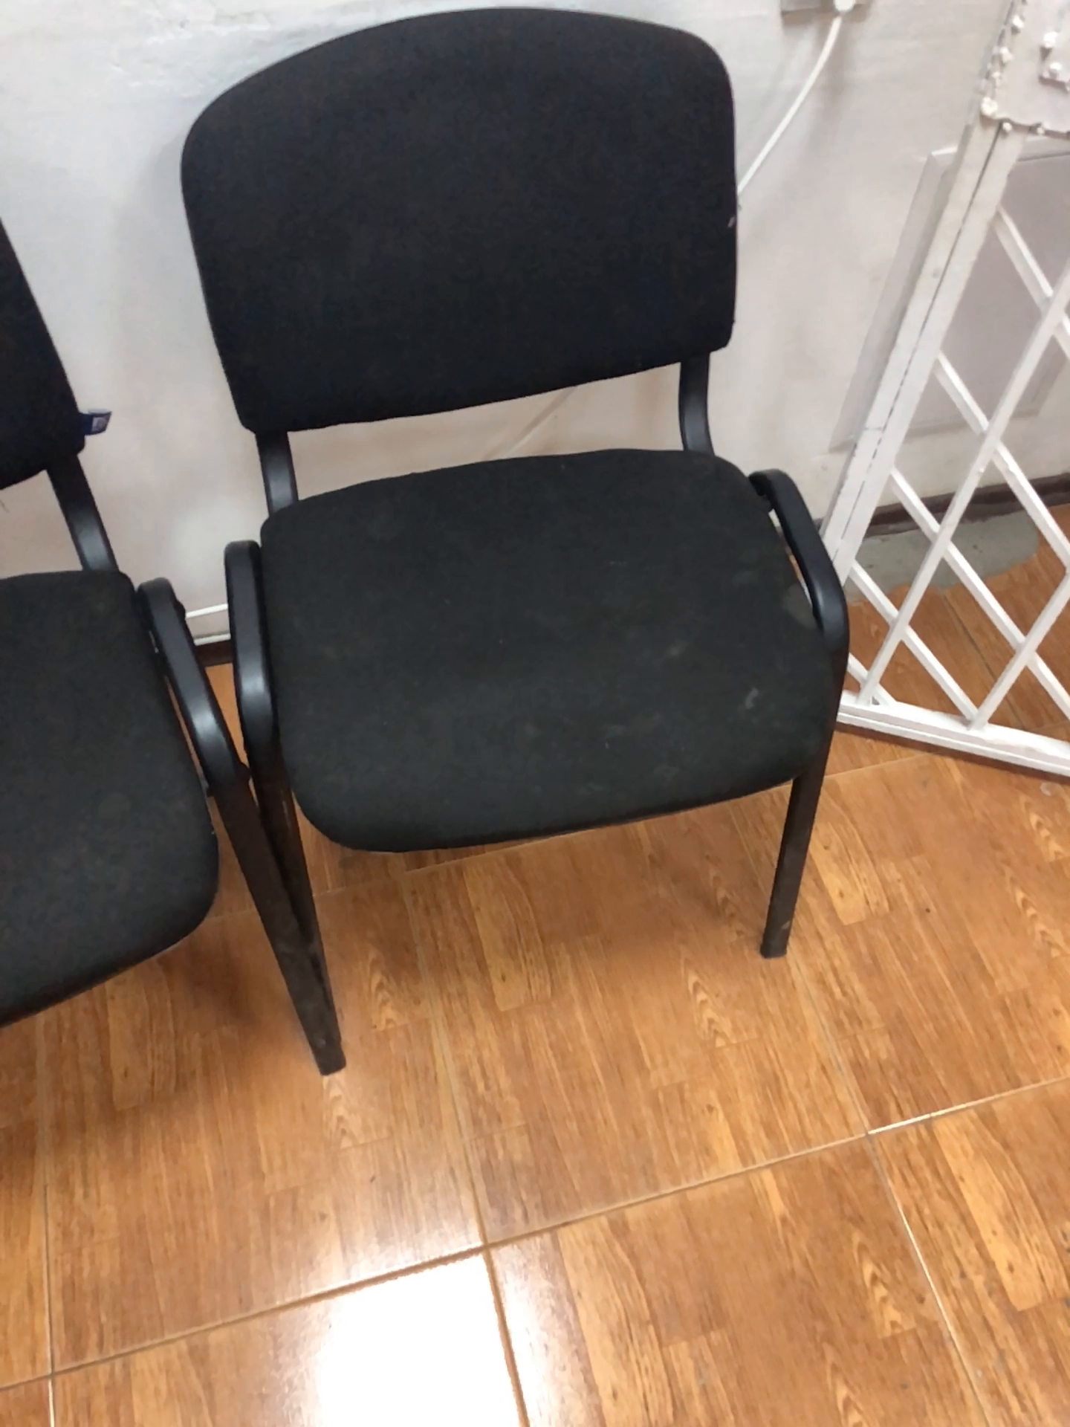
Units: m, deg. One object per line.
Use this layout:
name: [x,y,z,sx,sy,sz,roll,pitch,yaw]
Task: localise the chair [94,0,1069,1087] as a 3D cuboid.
chair: [0.004,-0.104,1.003,0.520,0.748,0.511,-11,57,-10]
